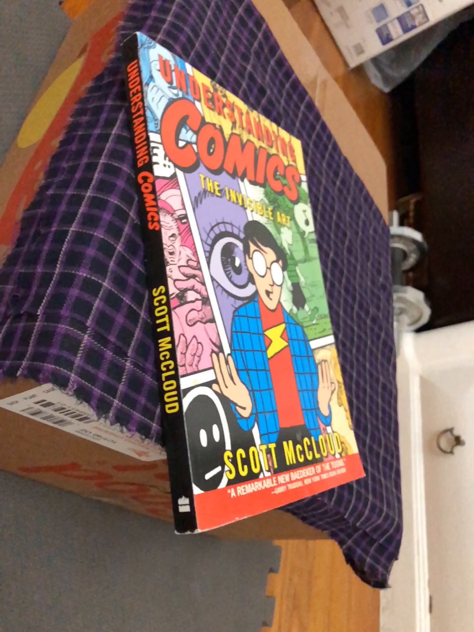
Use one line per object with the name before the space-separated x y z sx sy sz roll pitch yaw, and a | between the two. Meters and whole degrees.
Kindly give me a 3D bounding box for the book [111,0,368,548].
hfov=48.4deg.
book | 0.009 -0.025 0.320 0.171 0.020 0.270 10 68 -53
